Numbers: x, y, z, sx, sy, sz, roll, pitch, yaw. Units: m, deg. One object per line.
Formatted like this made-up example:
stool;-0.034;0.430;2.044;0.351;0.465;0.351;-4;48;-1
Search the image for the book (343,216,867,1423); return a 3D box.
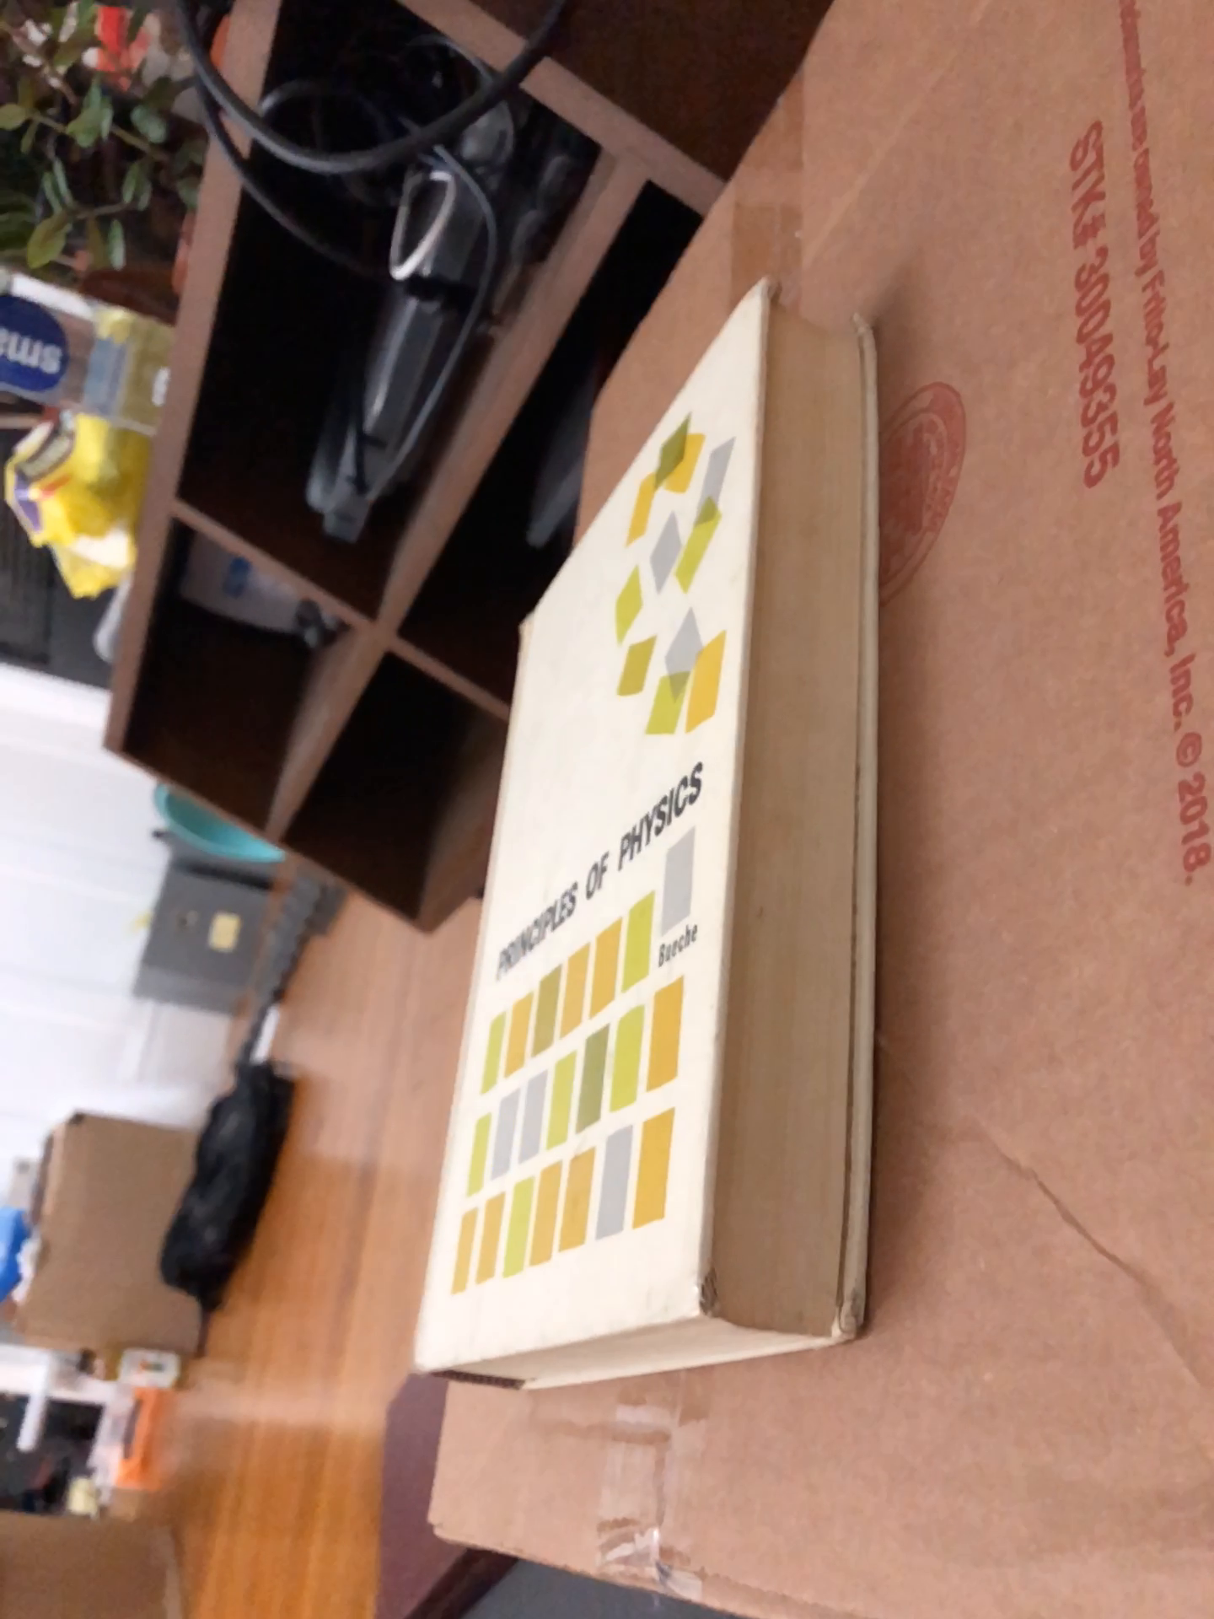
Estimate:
book;-0.003;0.013;0.339;0.180;0.040;0.250;134;147;-57
